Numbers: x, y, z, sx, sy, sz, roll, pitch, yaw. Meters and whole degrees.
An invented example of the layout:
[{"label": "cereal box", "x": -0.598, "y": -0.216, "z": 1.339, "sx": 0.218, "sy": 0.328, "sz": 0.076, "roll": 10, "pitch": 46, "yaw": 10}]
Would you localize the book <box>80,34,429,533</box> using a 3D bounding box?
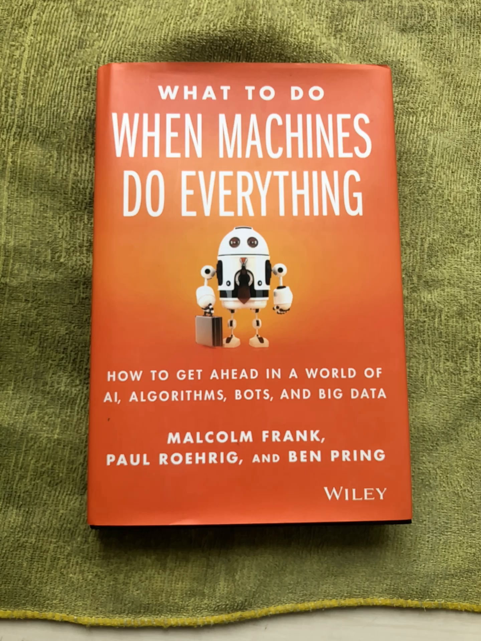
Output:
[{"label": "book", "x": 0.006, "y": -0.022, "z": 0.279, "sx": 0.160, "sy": 0.040, "sz": 0.240, "roll": 0, "pitch": 84, "yaw": -3}]
